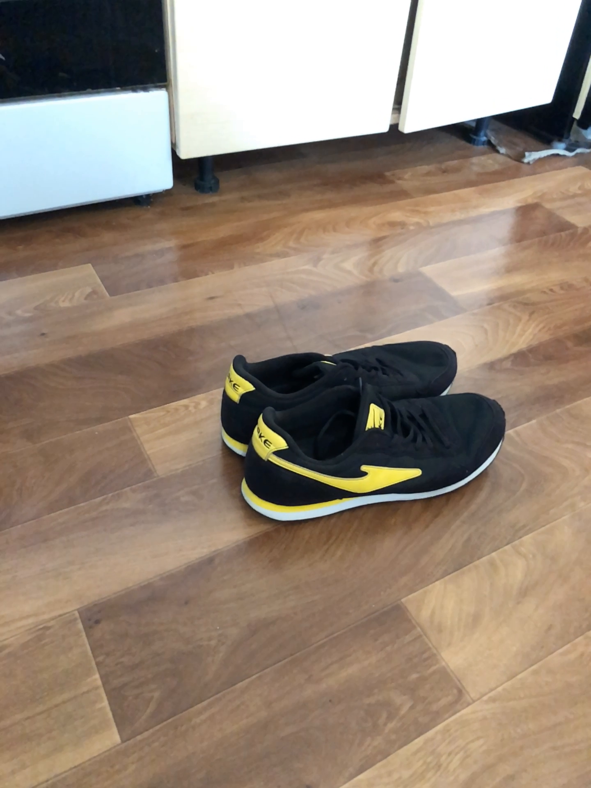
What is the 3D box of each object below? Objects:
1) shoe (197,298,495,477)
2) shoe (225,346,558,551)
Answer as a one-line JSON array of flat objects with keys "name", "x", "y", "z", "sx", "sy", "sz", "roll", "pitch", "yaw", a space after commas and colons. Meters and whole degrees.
[{"name": "shoe", "x": 0.054, "y": -0.016, "z": 0.712, "sx": 0.301, "sy": 0.079, "sz": 0.111, "roll": -14, "pitch": 45, "yaw": -20}, {"name": "shoe", "x": 0.092, "y": 0.044, "z": 0.639, "sx": 0.300, "sy": 0.079, "sz": 0.111, "roll": -13, "pitch": 44, "yaw": -19}]
